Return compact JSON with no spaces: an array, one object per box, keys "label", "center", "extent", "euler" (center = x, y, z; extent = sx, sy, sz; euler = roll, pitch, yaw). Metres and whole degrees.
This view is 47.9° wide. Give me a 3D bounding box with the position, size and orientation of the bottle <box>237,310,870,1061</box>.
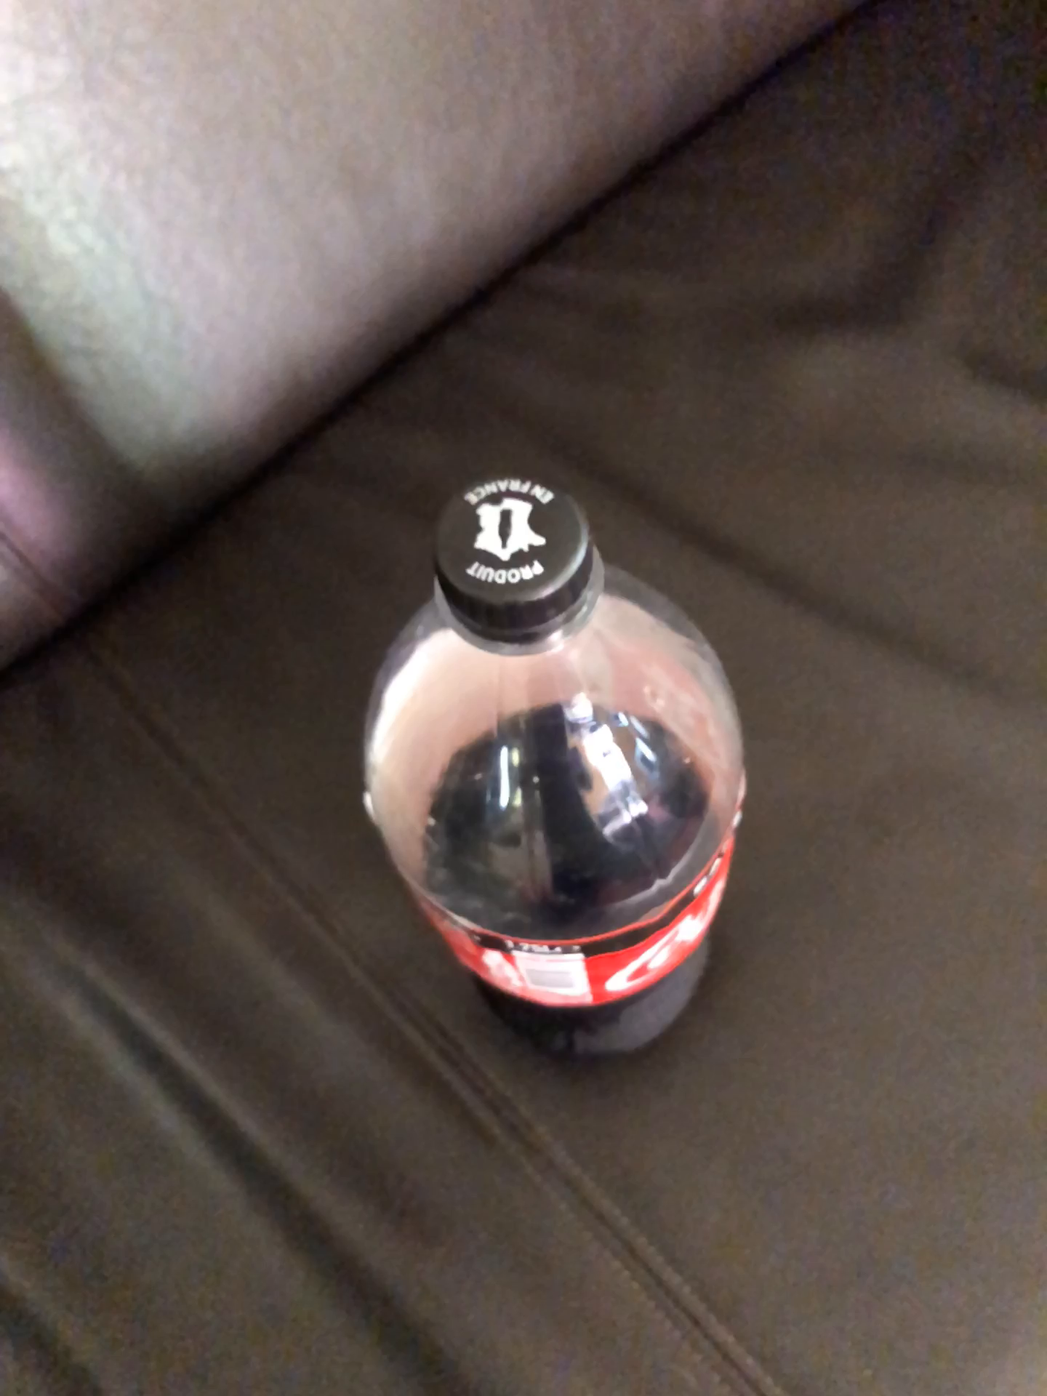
[{"label":"bottle","center":[0.017,0.036,0.352],"extent":[0.100,0.319,0.100],"euler":[-2,66,4]}]
